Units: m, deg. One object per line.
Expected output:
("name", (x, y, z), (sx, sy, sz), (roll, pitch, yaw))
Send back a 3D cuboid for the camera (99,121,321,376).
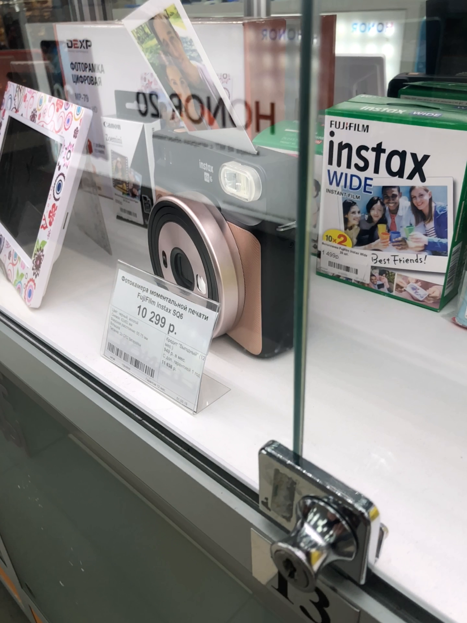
("camera", (-0.019, -0.048, 0.315), (0.060, 0.104, 0.141), (-20, 34, -27))
